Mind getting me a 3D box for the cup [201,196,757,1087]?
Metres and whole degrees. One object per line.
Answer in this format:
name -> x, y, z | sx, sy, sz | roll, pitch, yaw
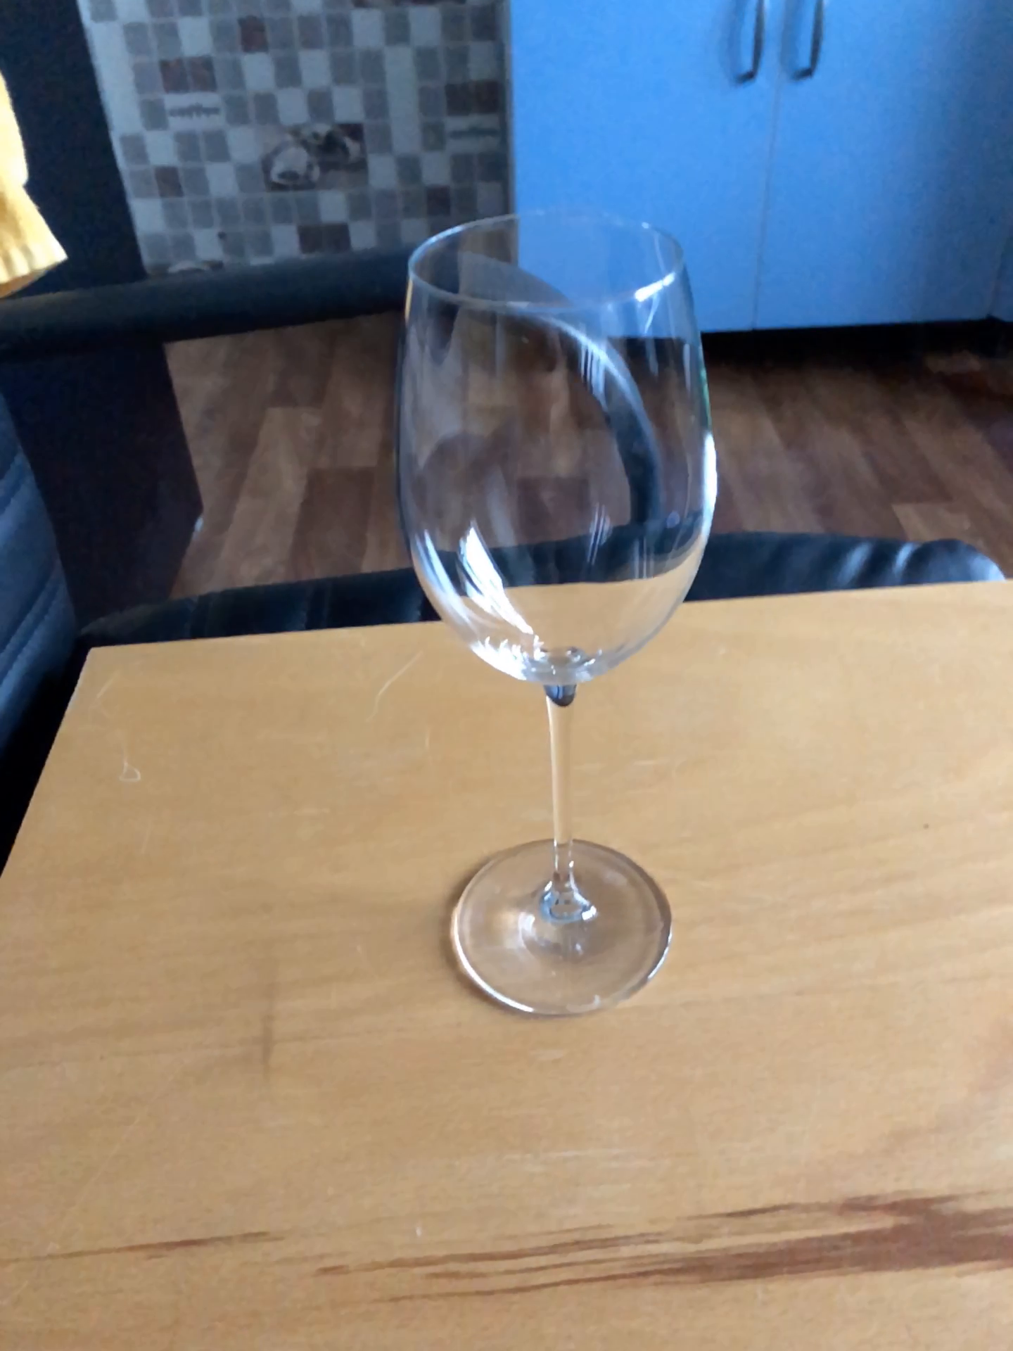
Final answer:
cup -> 0.001, -0.002, 0.308 | 0.089, 0.218, 0.090 | -2, 38, 1
